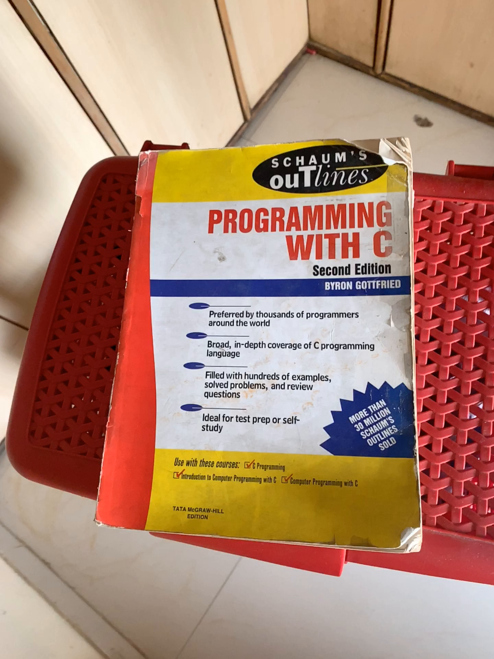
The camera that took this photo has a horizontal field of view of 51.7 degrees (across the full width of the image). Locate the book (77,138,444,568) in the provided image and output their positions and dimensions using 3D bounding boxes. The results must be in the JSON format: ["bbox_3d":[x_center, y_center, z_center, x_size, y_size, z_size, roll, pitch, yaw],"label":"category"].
[{"bbox_3d":[0.013,0.004,0.332,0.200,0.050,0.251,1,74,11],"label":"book"}]
